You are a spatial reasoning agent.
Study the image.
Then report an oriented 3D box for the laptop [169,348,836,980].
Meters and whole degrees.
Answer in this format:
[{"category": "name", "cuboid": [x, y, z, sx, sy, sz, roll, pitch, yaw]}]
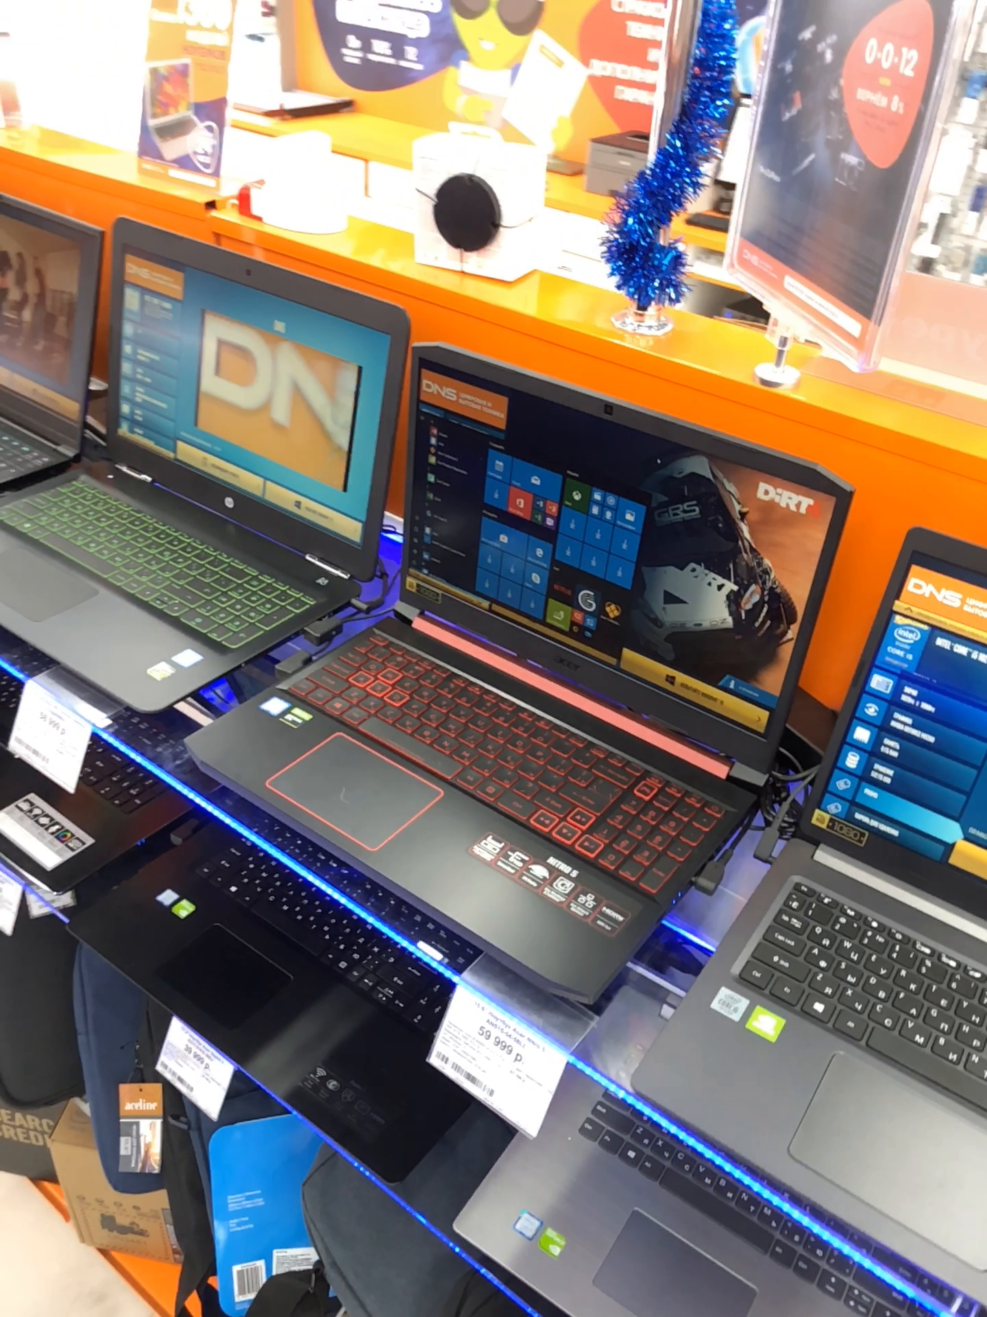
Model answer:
[{"category": "laptop", "cuboid": [0.000, -0.024, 0.734, 0.329, 0.231, 0.251, 26, 40, 27]}]
